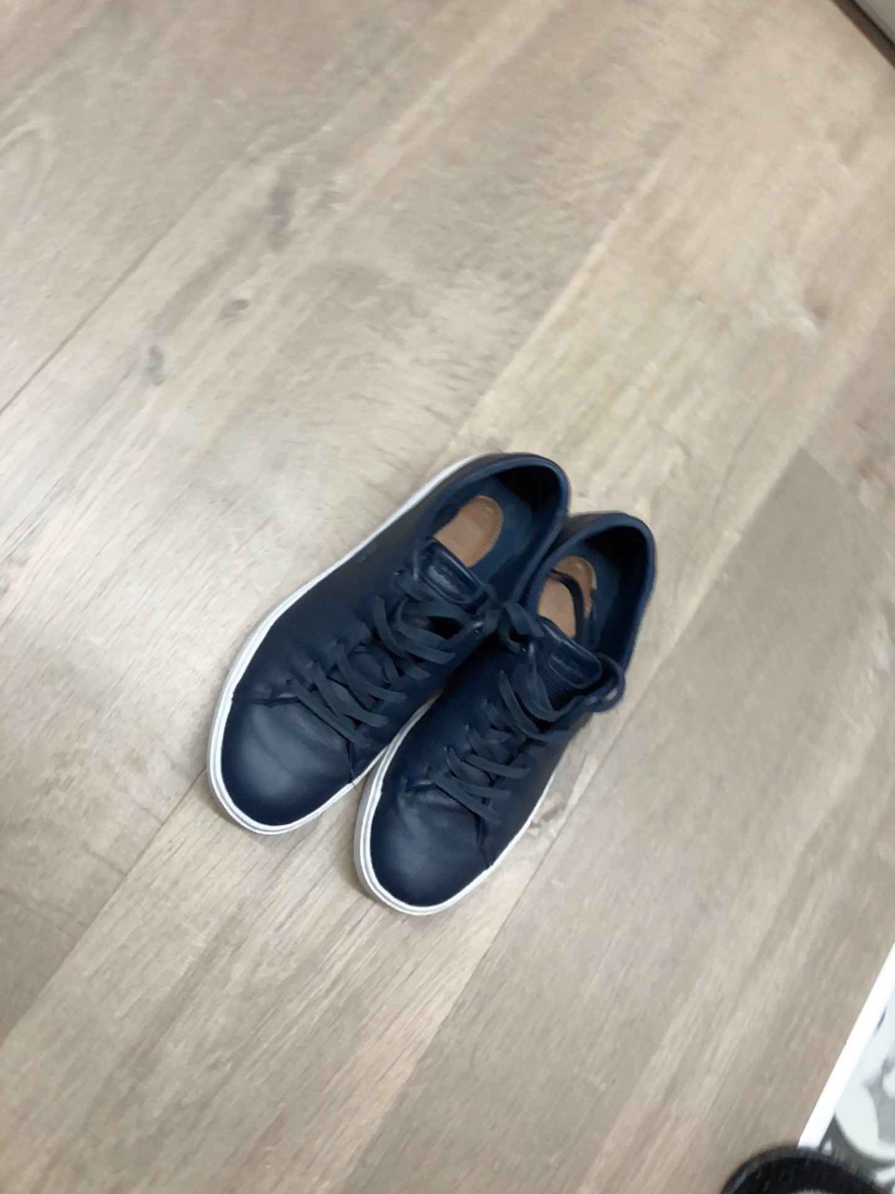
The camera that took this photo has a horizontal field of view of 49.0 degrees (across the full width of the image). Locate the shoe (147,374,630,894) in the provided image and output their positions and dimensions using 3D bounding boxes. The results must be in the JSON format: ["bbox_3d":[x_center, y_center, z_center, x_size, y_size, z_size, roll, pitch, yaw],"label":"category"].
[{"bbox_3d":[-0.029,0.014,0.511,0.100,0.080,0.247,44,73,-11],"label":"shoe"}]

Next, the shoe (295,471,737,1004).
[{"bbox_3d":[0.038,0.067,0.523,0.100,0.080,0.247,37,74,-13],"label":"shoe"}]
